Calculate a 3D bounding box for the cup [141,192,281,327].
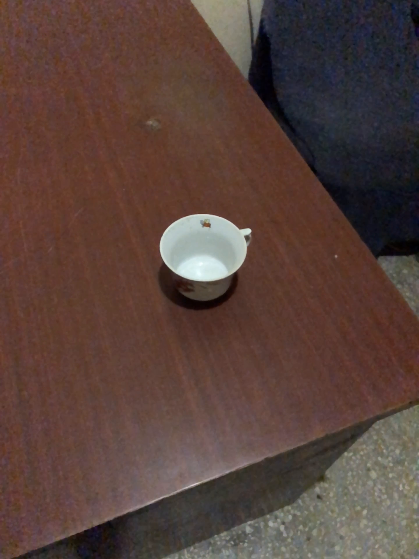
[{"bbox_3d":[-0.001,-0.025,0.504,0.110,0.059,0.100,-24,59,-18],"label":"cup"}]
